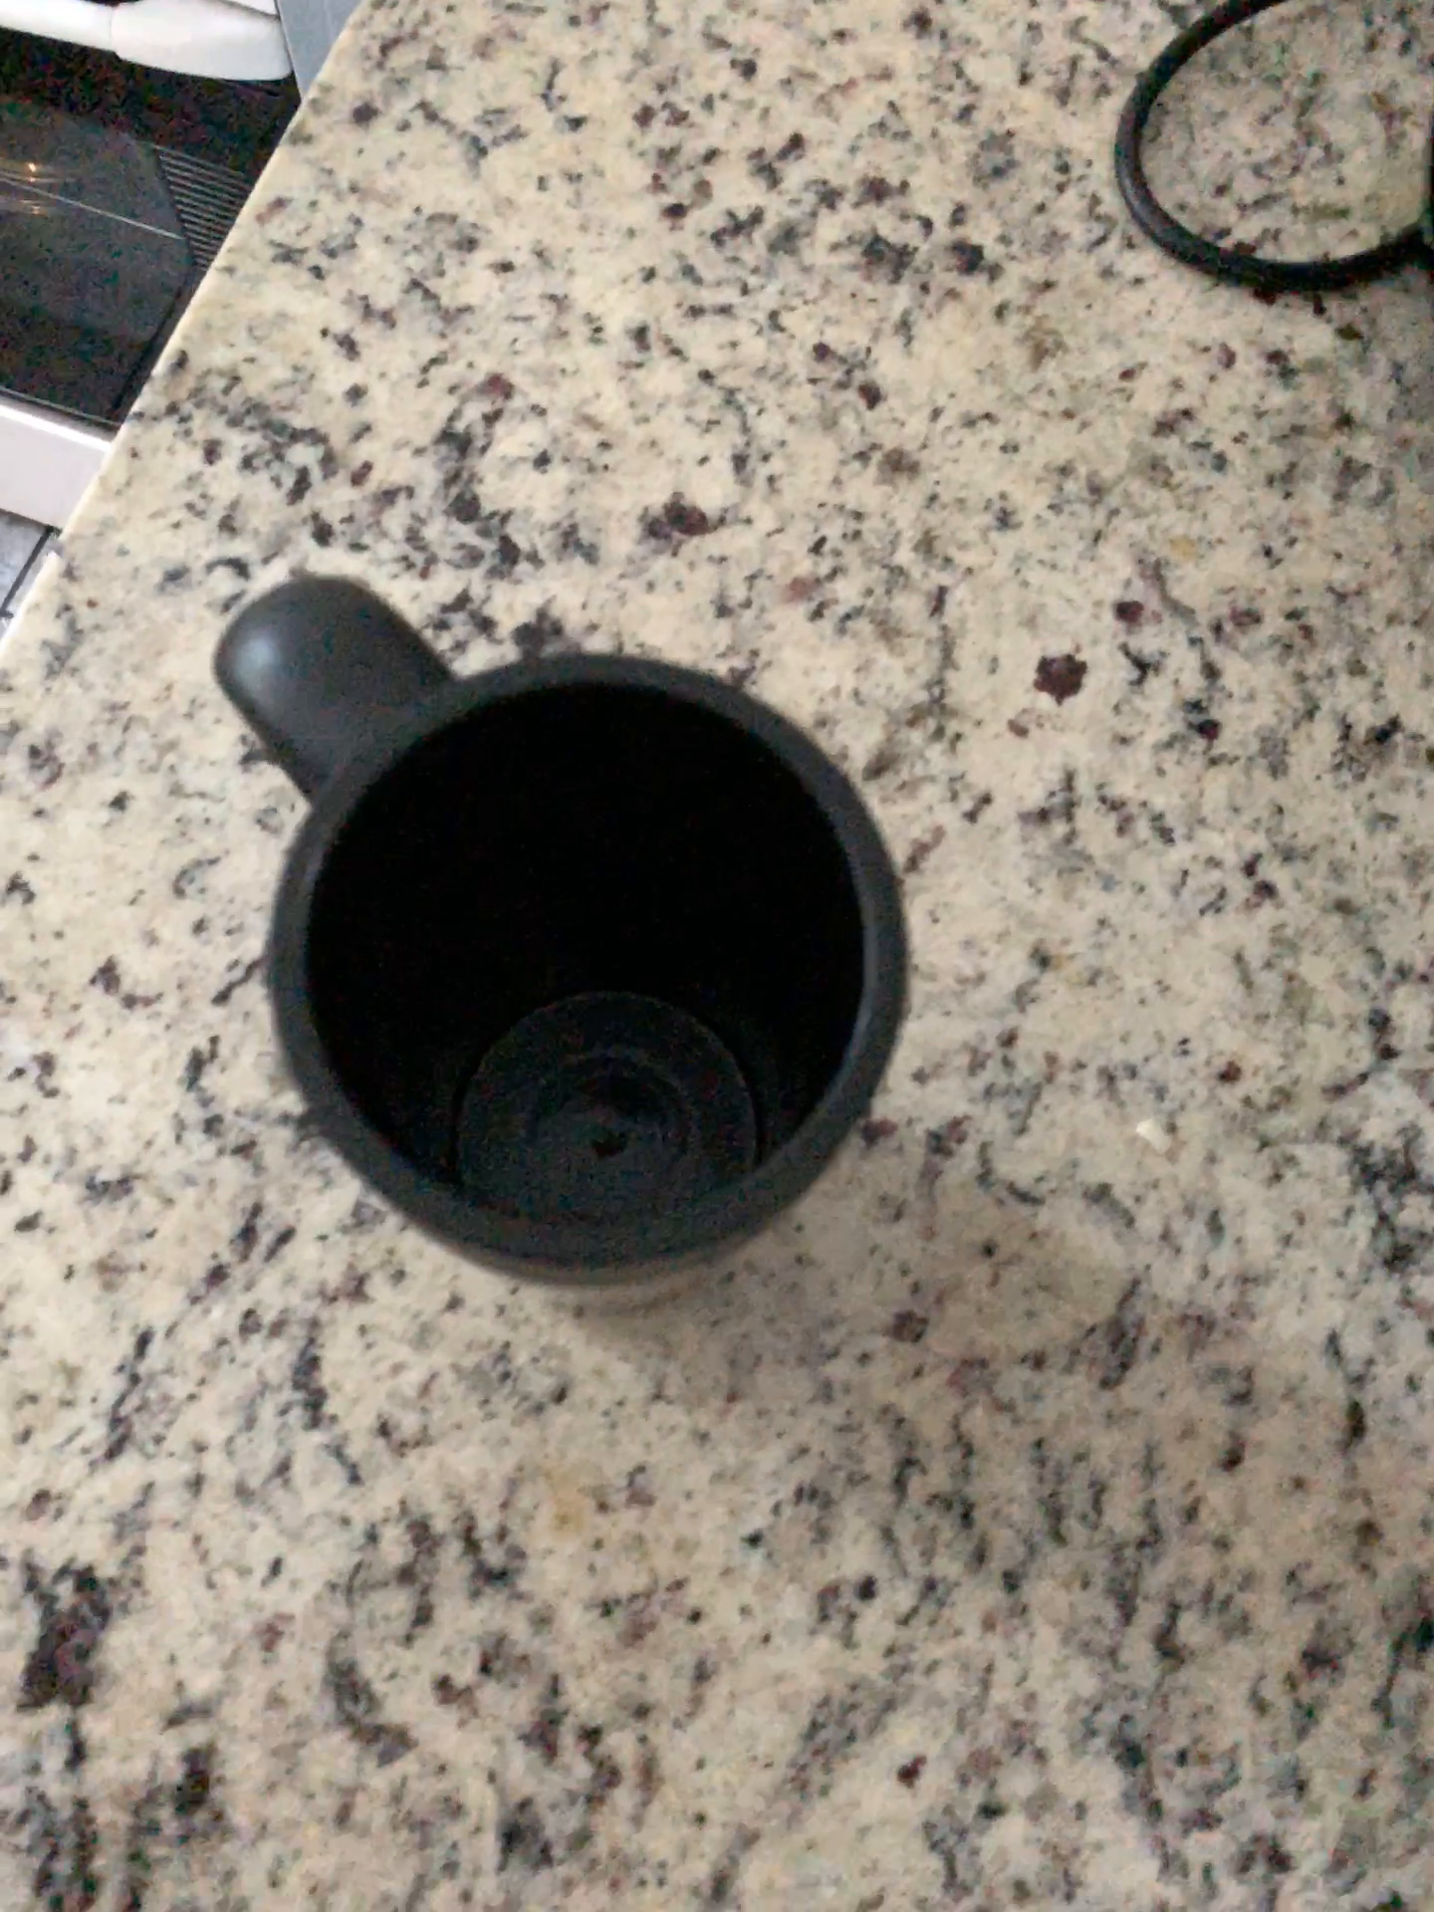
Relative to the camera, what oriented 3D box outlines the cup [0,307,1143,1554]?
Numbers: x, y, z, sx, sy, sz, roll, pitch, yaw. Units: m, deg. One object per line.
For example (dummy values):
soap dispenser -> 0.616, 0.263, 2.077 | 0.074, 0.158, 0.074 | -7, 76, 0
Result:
cup -> -0.027, 0.009, 0.228 | 0.080, 0.140, 0.120 | -38, 79, -13
